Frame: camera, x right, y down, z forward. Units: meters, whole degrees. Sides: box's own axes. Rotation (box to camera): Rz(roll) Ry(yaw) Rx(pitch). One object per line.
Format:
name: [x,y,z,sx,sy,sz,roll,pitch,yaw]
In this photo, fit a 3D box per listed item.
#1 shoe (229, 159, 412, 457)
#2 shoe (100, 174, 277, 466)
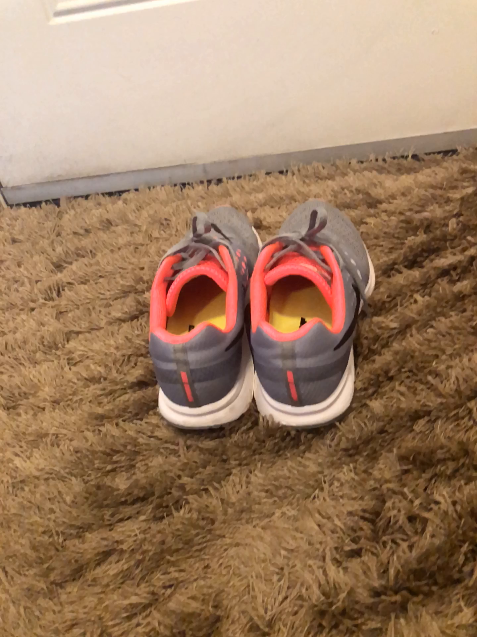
shoe: [0.074,-0.024,0.483,0.118,0.119,0.271,-2,42,10]
shoe: [-0.031,-0.014,0.507,0.113,0.121,0.271,-6,41,6]
